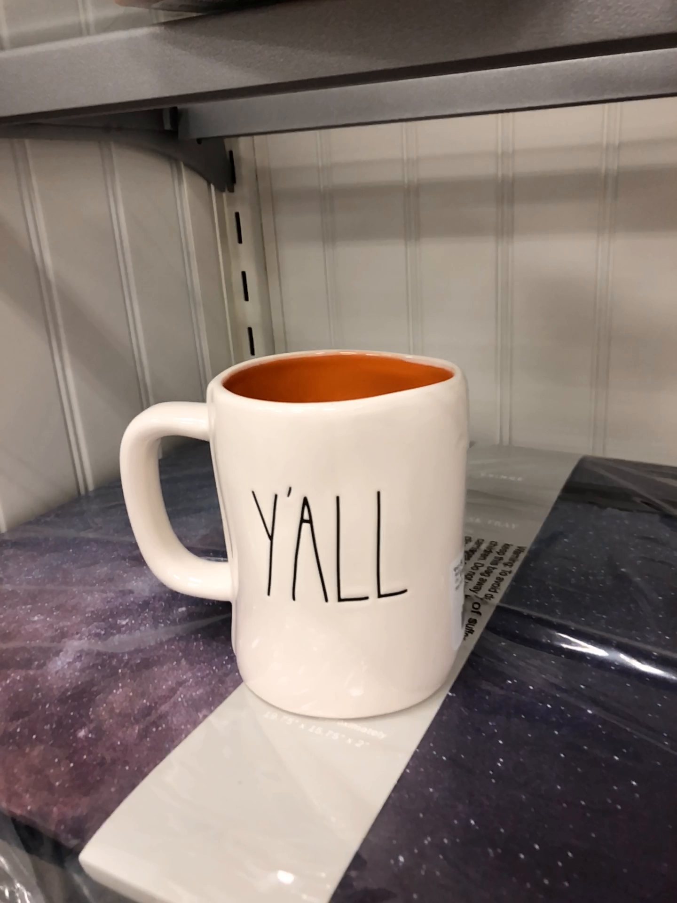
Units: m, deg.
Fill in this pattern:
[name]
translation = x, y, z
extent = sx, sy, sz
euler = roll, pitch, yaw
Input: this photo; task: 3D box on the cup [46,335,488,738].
[cup]
translation = -0.017, 0.023, 0.296
extent = 0.140, 0.119, 0.091
euler = 2, 21, 17
